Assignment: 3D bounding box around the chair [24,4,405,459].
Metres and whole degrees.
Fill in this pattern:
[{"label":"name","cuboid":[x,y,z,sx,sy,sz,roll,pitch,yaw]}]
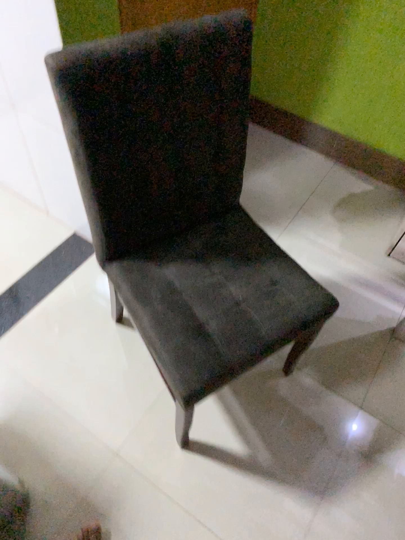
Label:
[{"label":"chair","cuboid":[0.027,-0.015,1.105,0.542,0.972,0.573,-27,60,-22]}]
